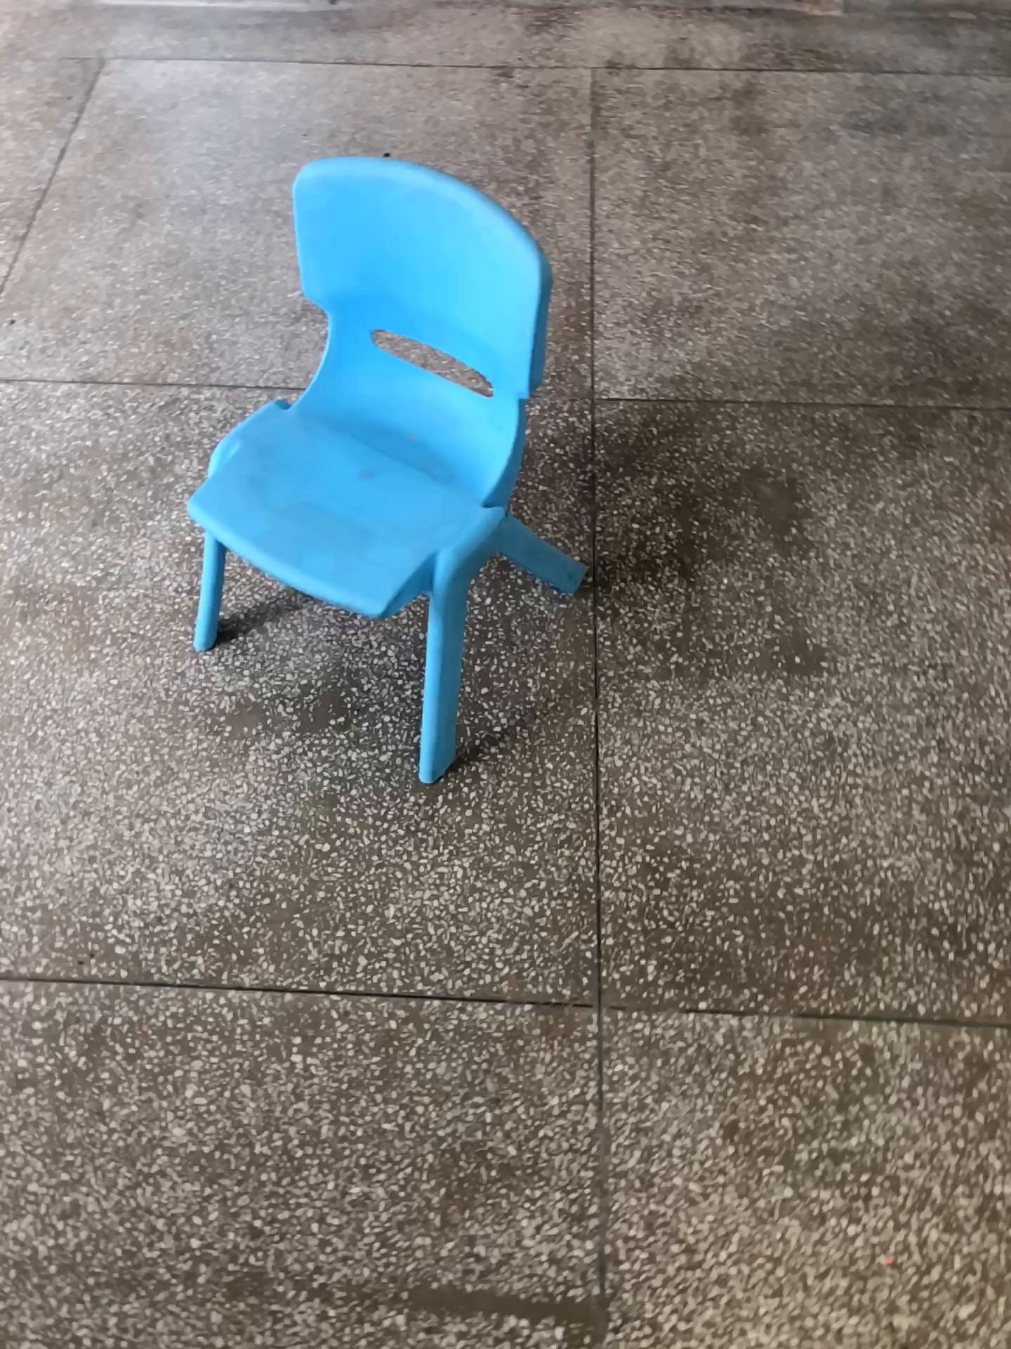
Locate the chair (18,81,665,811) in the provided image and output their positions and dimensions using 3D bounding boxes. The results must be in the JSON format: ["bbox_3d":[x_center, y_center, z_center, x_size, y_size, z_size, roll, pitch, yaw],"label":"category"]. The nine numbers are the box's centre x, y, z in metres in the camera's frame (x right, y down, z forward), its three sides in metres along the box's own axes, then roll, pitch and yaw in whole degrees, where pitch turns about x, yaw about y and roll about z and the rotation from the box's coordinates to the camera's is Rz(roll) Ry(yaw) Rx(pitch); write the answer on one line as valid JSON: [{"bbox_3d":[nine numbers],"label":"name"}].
[{"bbox_3d":[-0.125,-0.215,1.136,0.380,0.499,0.390,29,61,19],"label":"chair"}]
